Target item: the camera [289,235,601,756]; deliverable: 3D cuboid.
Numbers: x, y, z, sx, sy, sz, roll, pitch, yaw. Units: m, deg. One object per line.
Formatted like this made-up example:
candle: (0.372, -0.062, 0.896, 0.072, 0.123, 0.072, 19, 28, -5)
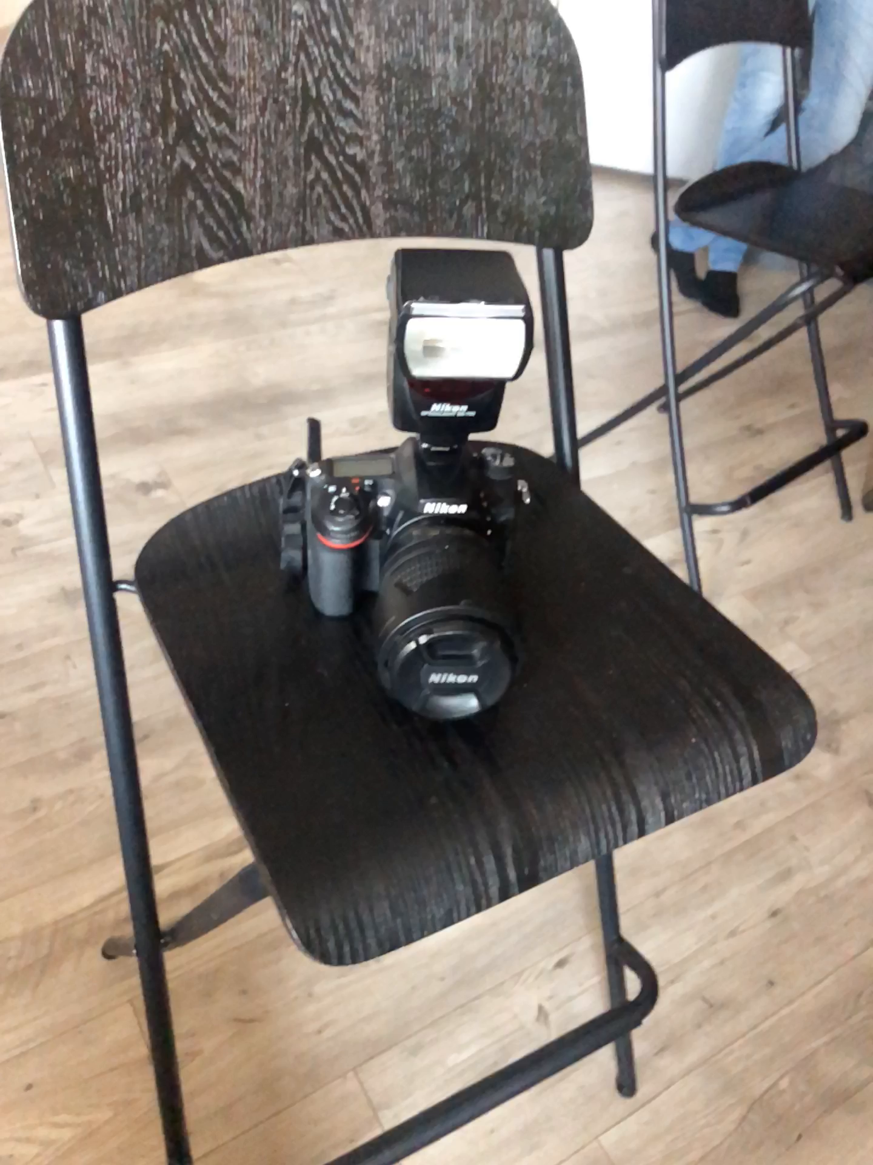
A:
camera: (-0.009, -0.045, 0.521, 0.125, 0.217, 0.168, -3, 43, -7)
